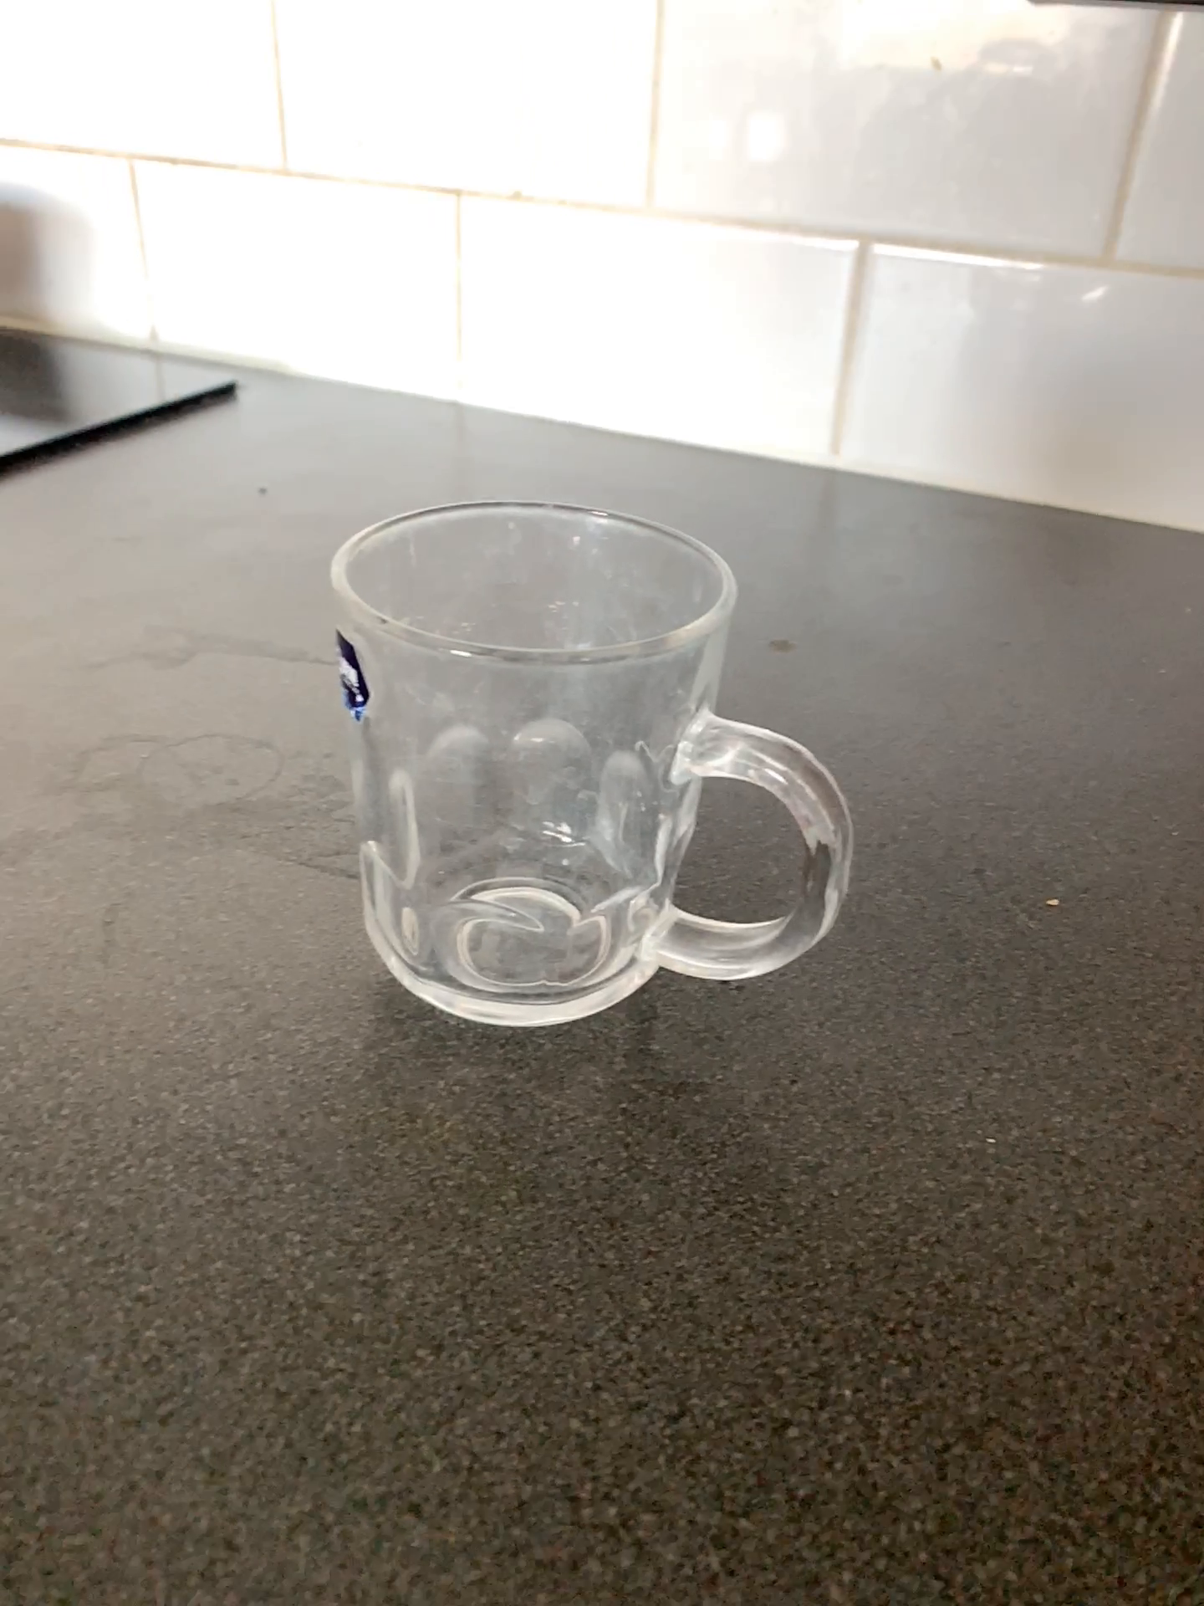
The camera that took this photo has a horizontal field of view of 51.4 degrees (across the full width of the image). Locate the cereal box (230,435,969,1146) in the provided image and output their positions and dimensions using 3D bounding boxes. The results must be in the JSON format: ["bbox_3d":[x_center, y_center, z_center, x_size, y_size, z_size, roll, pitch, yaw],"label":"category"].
[{"bbox_3d":[0.002,-0.010,0.246,0.110,0.089,0.081,14,33,17],"label":"cereal box"}]
